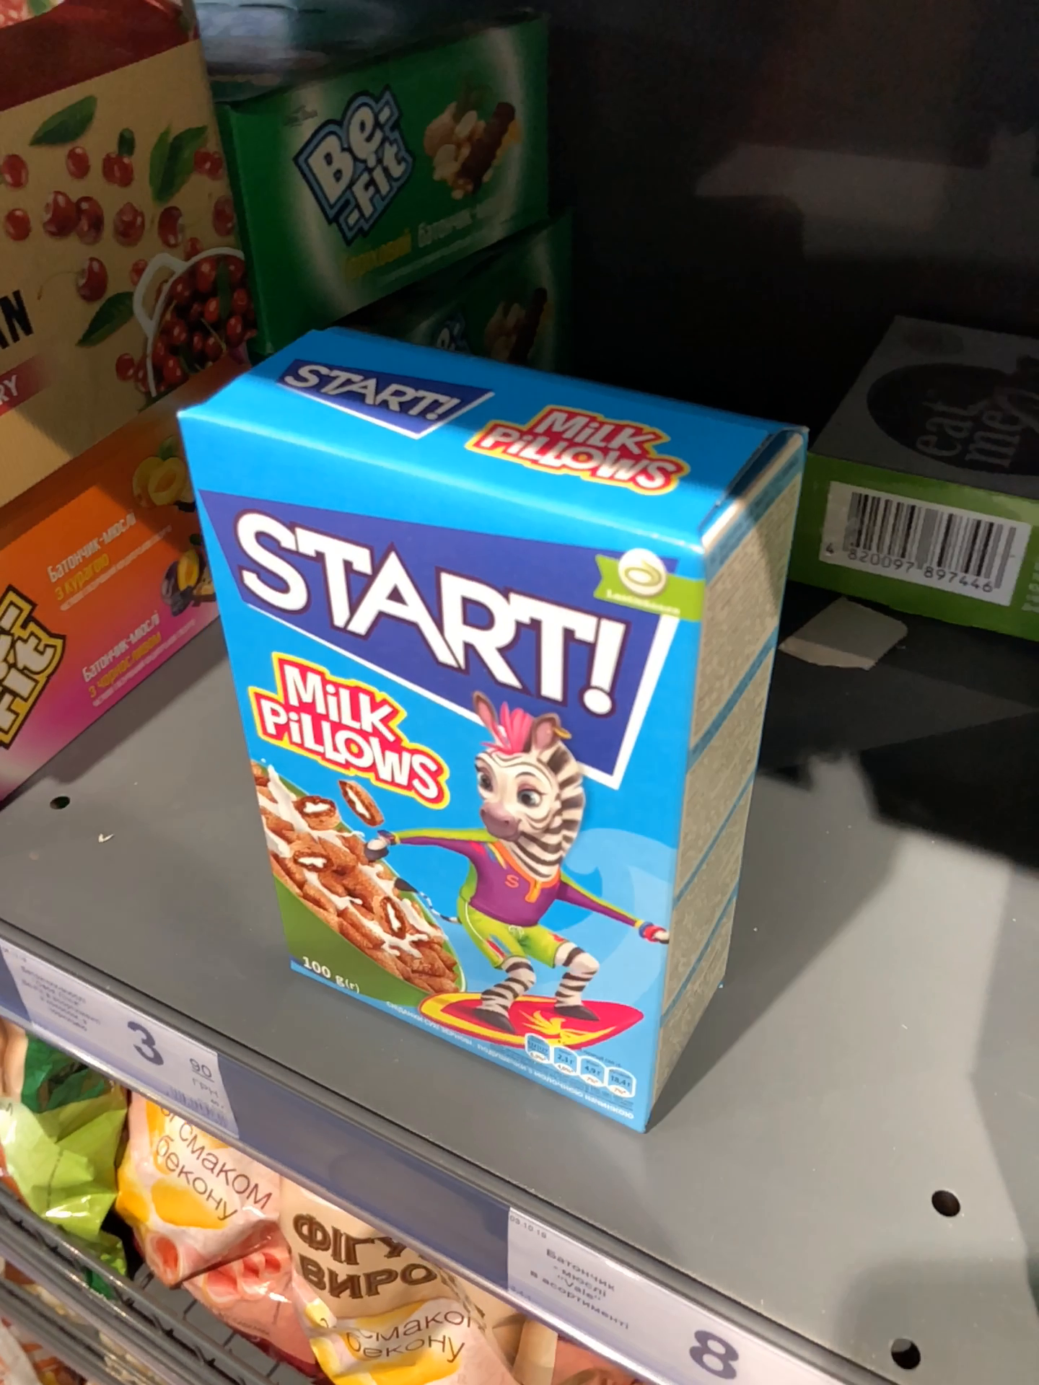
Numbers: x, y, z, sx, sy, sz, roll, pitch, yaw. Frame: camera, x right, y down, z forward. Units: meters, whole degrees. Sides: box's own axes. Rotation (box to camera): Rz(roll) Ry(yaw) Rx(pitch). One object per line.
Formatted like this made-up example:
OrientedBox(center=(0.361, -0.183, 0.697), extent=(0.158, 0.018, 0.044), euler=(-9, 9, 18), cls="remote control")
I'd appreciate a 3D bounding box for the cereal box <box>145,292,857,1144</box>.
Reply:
OrientedBox(center=(-0.002, 0.009, 0.277), extent=(0.120, 0.169, 0.070), euler=(18, 42, 21), cls="cereal box")
